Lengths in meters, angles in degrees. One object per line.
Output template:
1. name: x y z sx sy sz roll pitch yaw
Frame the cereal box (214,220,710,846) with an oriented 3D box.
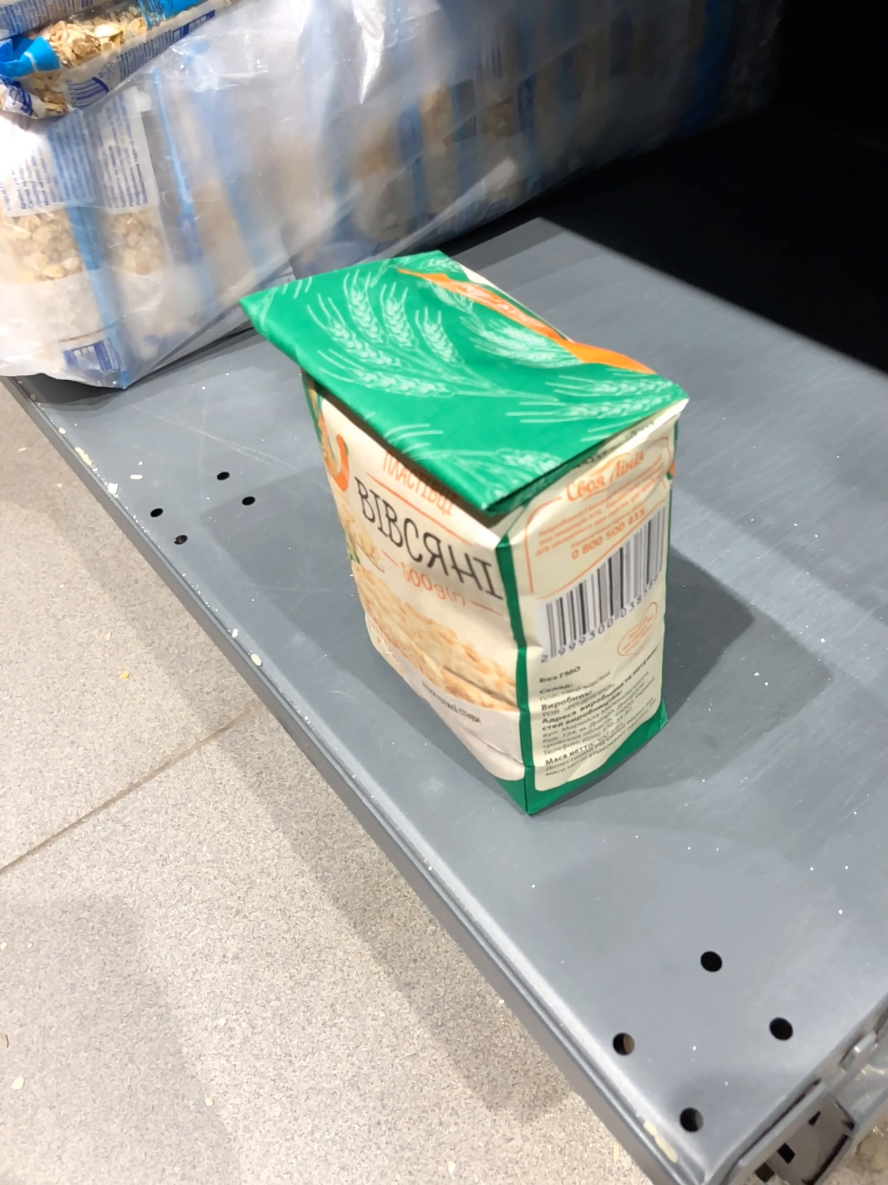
1. cereal box: 0.007 -0.018 0.305 0.070 0.139 0.121 -33 51 -21
